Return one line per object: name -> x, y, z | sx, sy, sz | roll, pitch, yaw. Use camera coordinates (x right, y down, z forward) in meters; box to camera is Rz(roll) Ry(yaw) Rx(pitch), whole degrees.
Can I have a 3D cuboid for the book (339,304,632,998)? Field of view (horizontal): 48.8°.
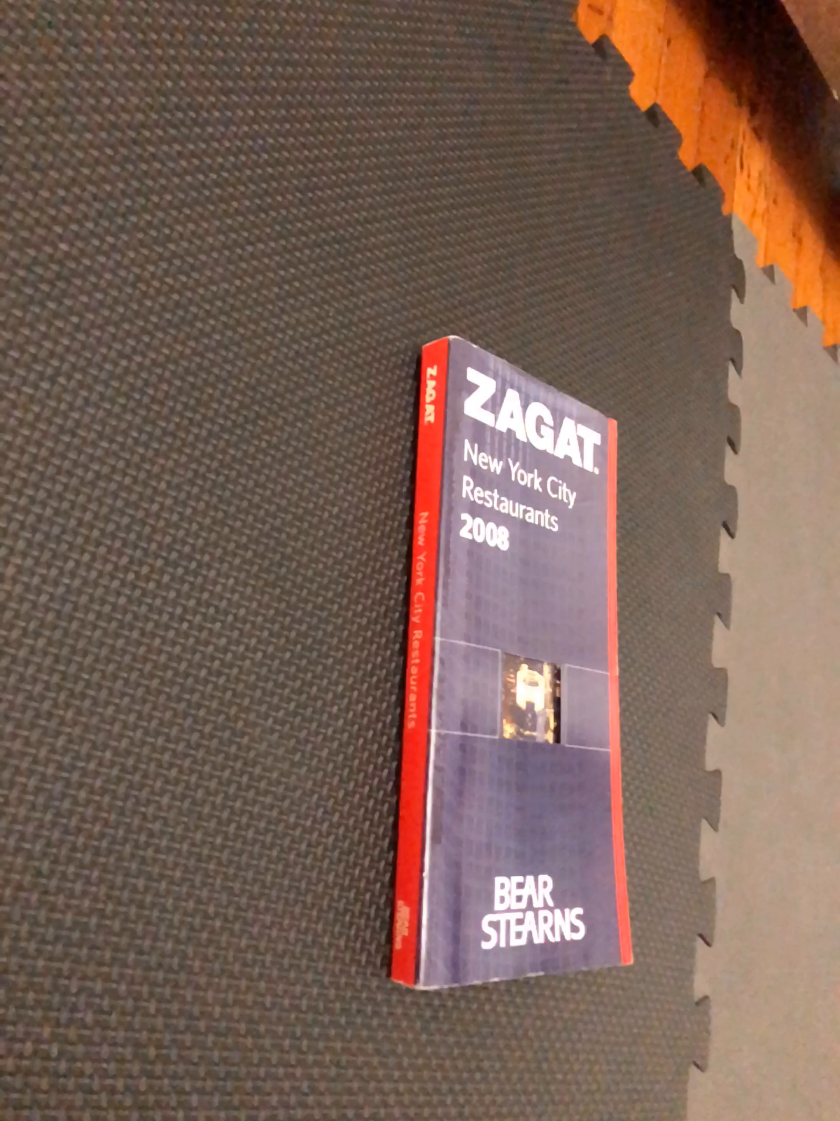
book -> 0.033, 0.033, 0.345 | 0.121, 0.030, 0.220 | 16, 72, -44
